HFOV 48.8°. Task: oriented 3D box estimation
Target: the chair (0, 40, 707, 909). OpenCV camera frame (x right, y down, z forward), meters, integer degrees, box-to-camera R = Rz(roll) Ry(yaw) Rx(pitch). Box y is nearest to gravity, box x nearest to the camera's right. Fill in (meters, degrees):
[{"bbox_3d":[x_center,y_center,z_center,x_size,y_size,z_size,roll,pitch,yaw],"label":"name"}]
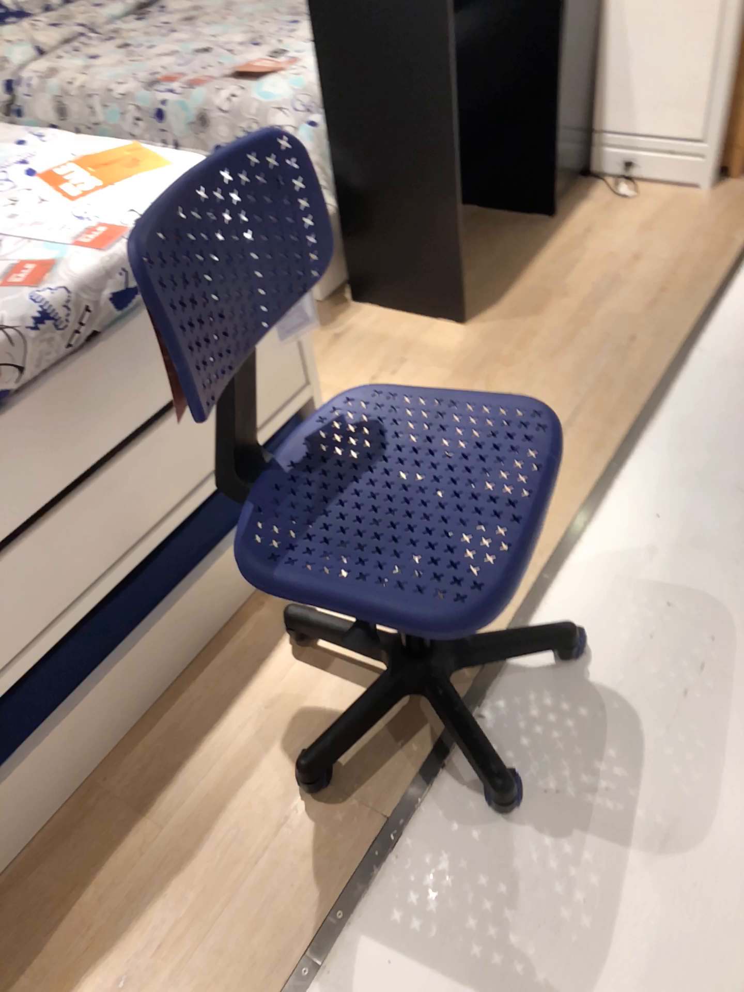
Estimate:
[{"bbox_3d":[0.016,-0.025,1.017,0.521,0.814,0.553,16,49,25],"label":"chair"}]
